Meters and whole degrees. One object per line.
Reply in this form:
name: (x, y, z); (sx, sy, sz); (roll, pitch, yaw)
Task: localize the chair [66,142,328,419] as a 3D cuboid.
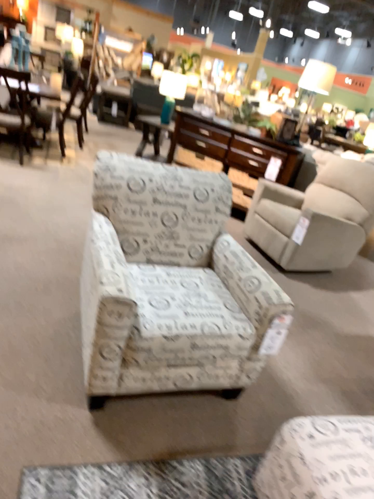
chair: (-0.084, 0.101, 1.890); (0.835, 0.870, 0.919); (5, 27, -23)
